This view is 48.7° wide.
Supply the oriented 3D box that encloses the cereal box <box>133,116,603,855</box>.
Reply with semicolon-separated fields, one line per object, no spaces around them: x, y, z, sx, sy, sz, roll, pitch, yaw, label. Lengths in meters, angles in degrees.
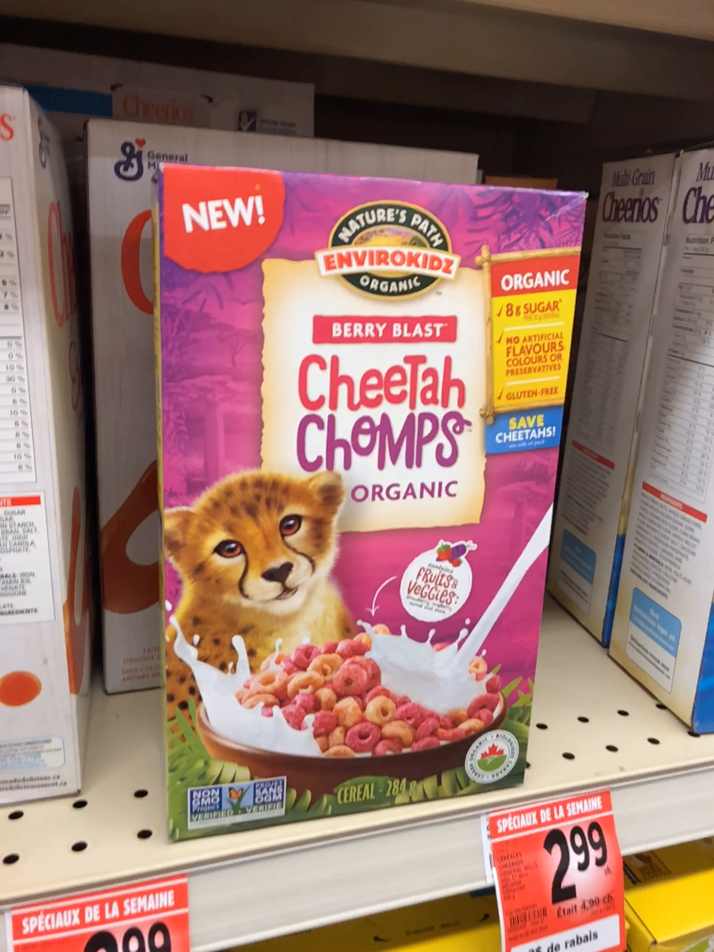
-0.005;0.006;0.321;0.160;0.259;0.070;-2;14;-15;cereal box
